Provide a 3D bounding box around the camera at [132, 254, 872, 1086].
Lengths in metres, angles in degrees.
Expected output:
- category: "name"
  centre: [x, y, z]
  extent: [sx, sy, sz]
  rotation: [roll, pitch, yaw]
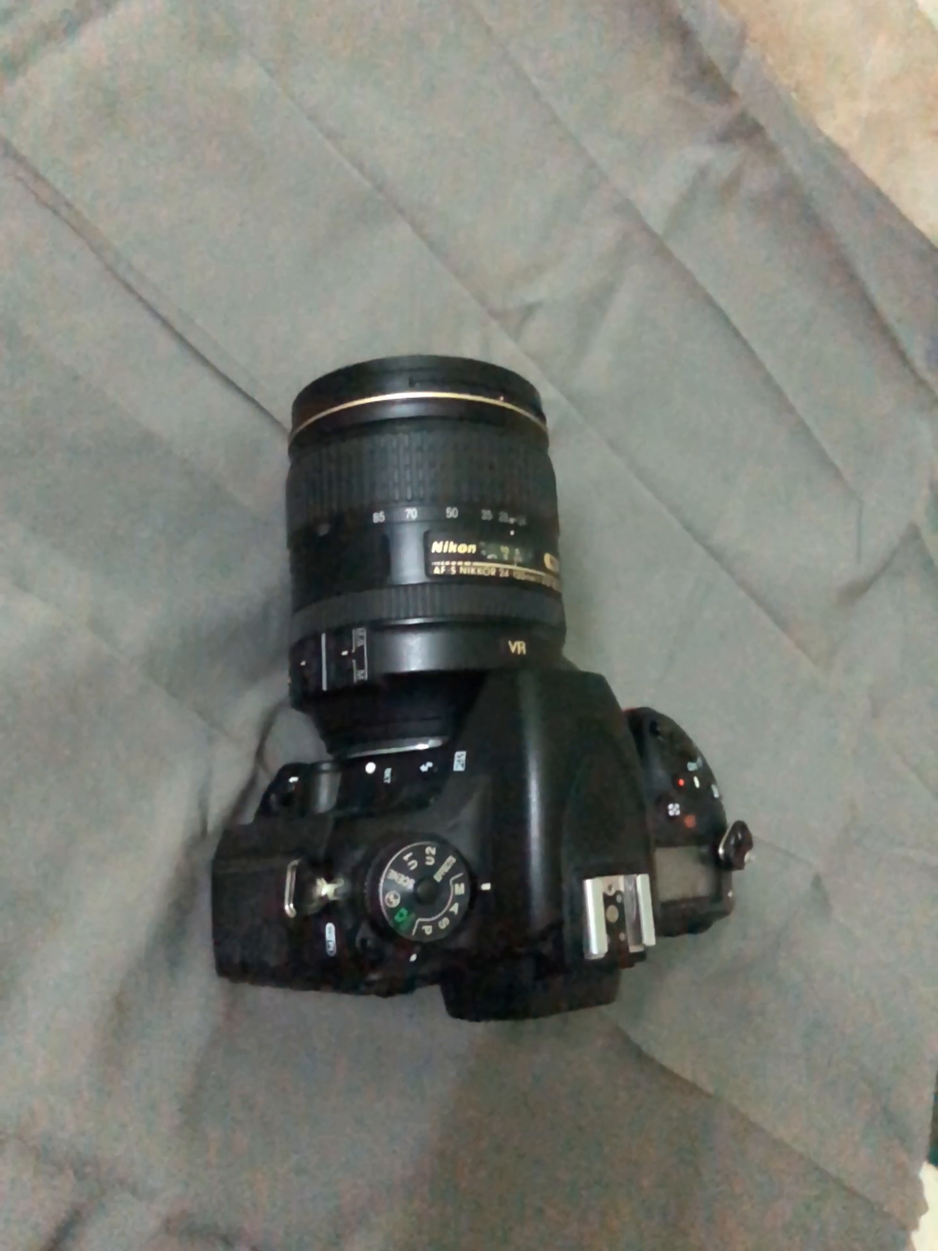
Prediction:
- category: "camera"
  centre: [0.002, 0.019, 0.299]
  extent: [0.146, 0.134, 0.163]
  rotation: [4, 76, -38]
